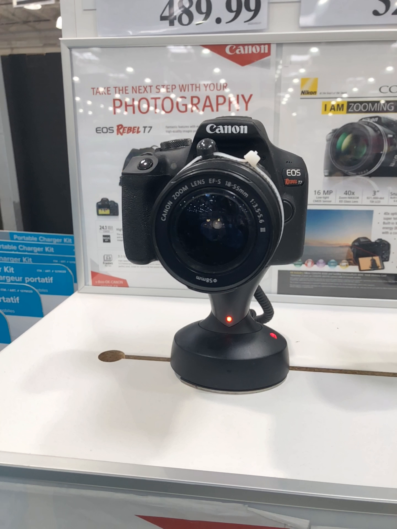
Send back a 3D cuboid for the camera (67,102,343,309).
[{"bbox_3d":[0.007,-0.042,0.277,0.130,0.100,0.120,1,14,5],"label":"camera"}]
